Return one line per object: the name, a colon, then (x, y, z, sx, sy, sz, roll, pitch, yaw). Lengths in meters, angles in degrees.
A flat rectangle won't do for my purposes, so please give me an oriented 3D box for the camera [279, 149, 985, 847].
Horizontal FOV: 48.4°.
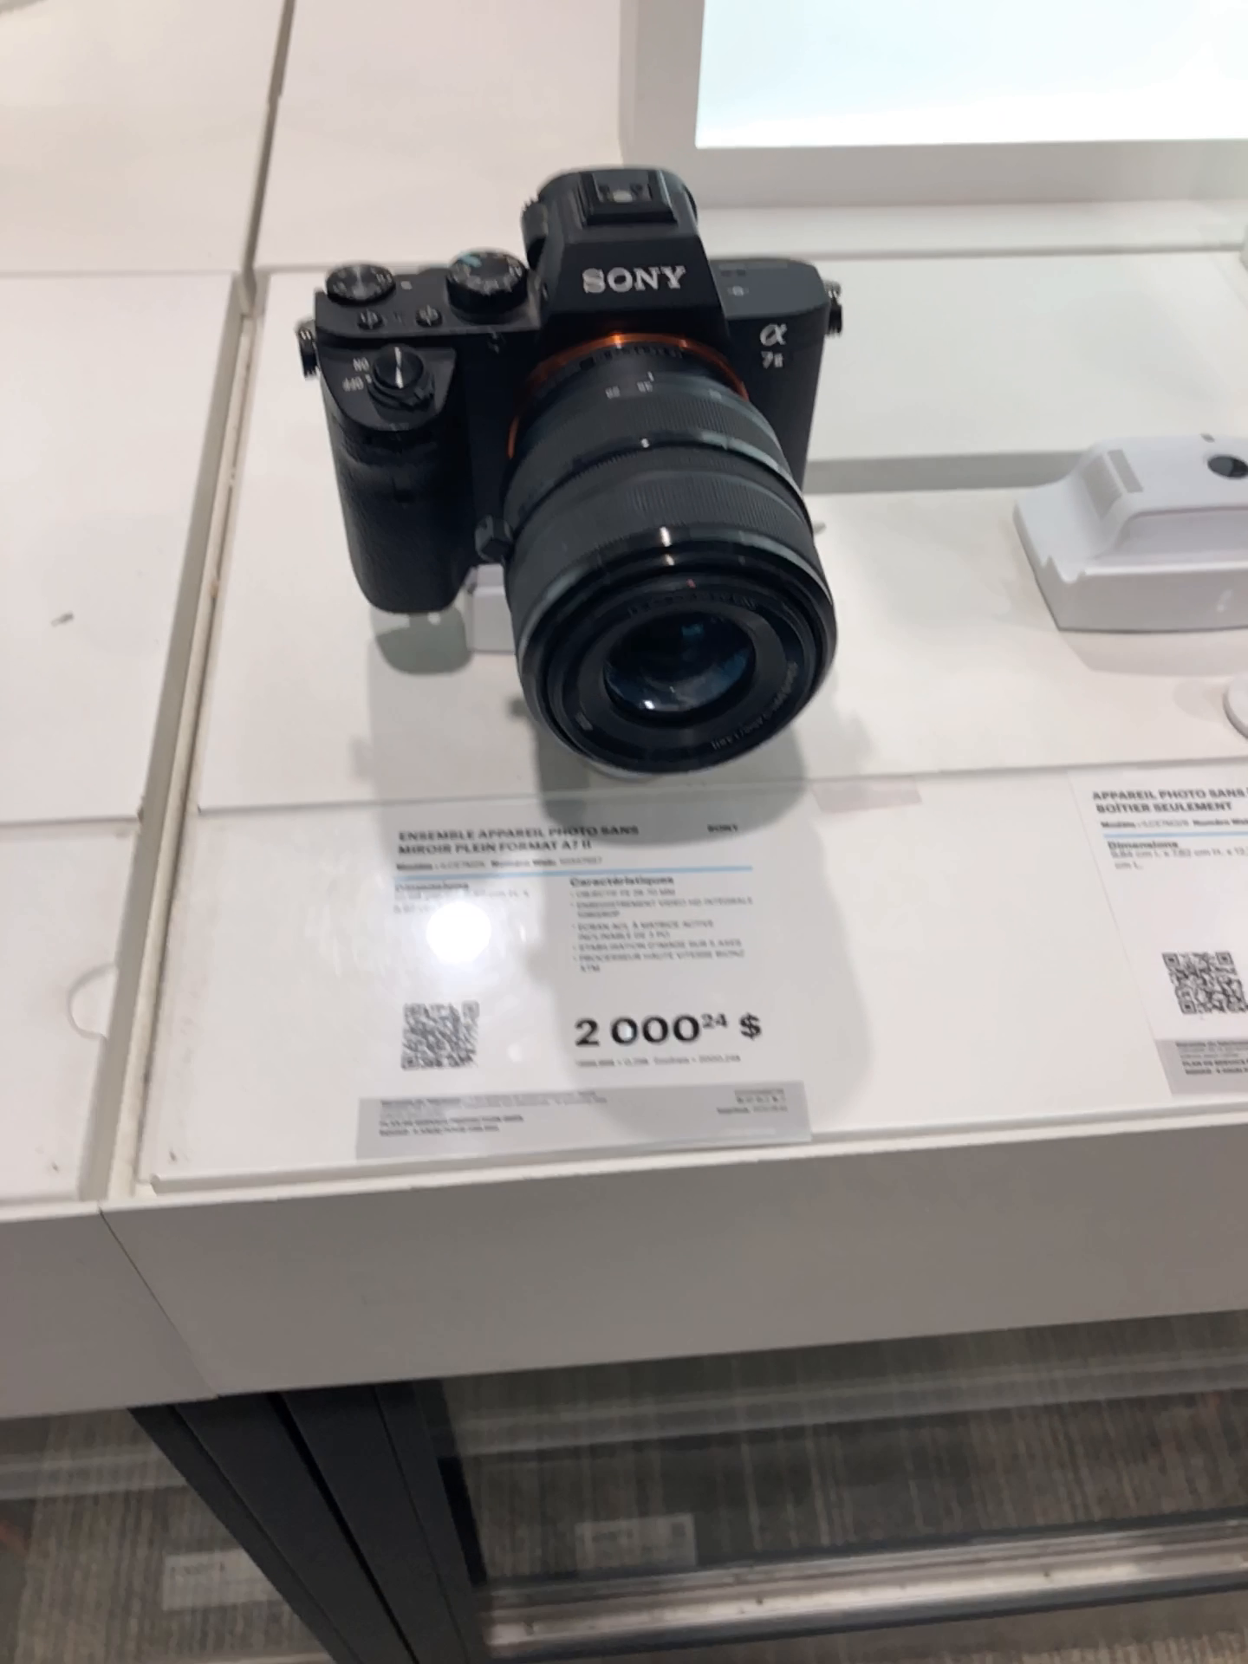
camera: (-0.007, -0.084, 0.340, 0.134, 0.099, 0.131, -5, 51, -6)
